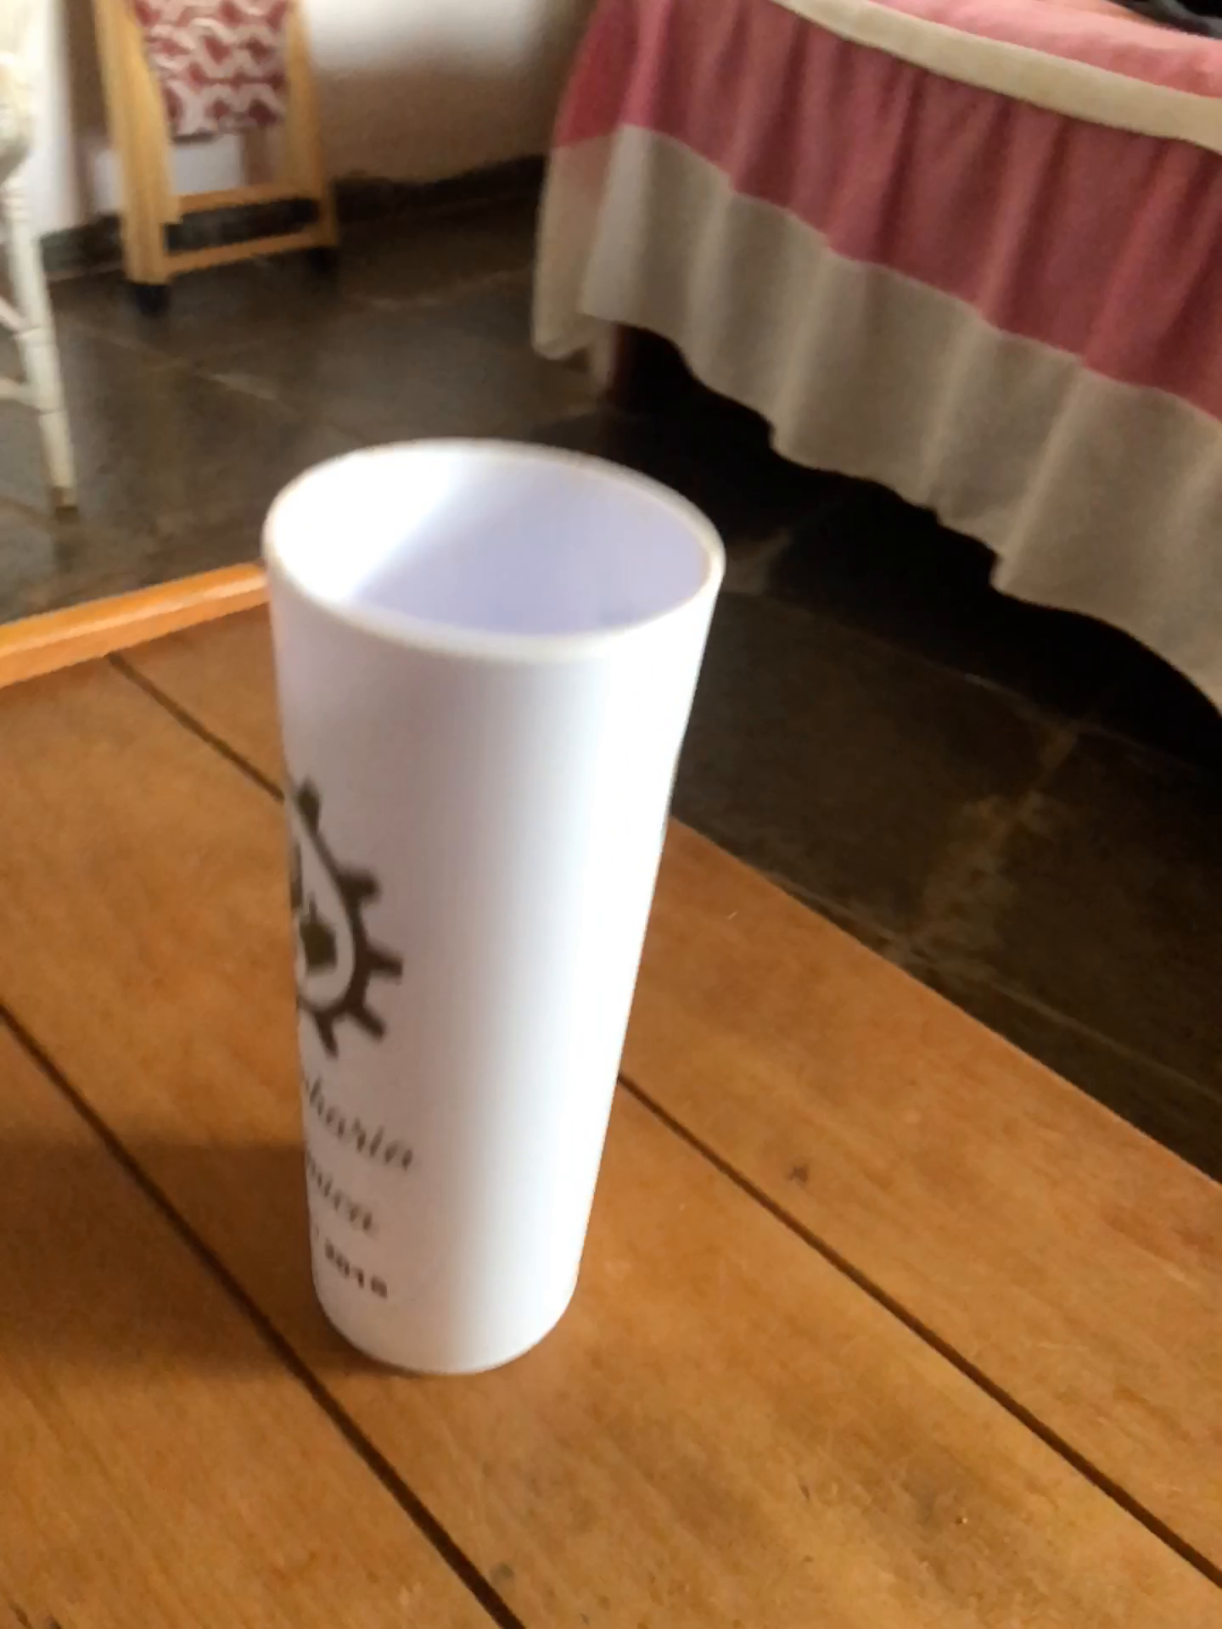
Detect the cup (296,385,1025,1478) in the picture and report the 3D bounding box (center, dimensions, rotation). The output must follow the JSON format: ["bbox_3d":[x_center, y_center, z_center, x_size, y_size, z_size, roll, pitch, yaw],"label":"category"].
[{"bbox_3d":[-0.004,0.022,0.227,0.070,0.159,0.070,6,36,-4],"label":"cup"}]
